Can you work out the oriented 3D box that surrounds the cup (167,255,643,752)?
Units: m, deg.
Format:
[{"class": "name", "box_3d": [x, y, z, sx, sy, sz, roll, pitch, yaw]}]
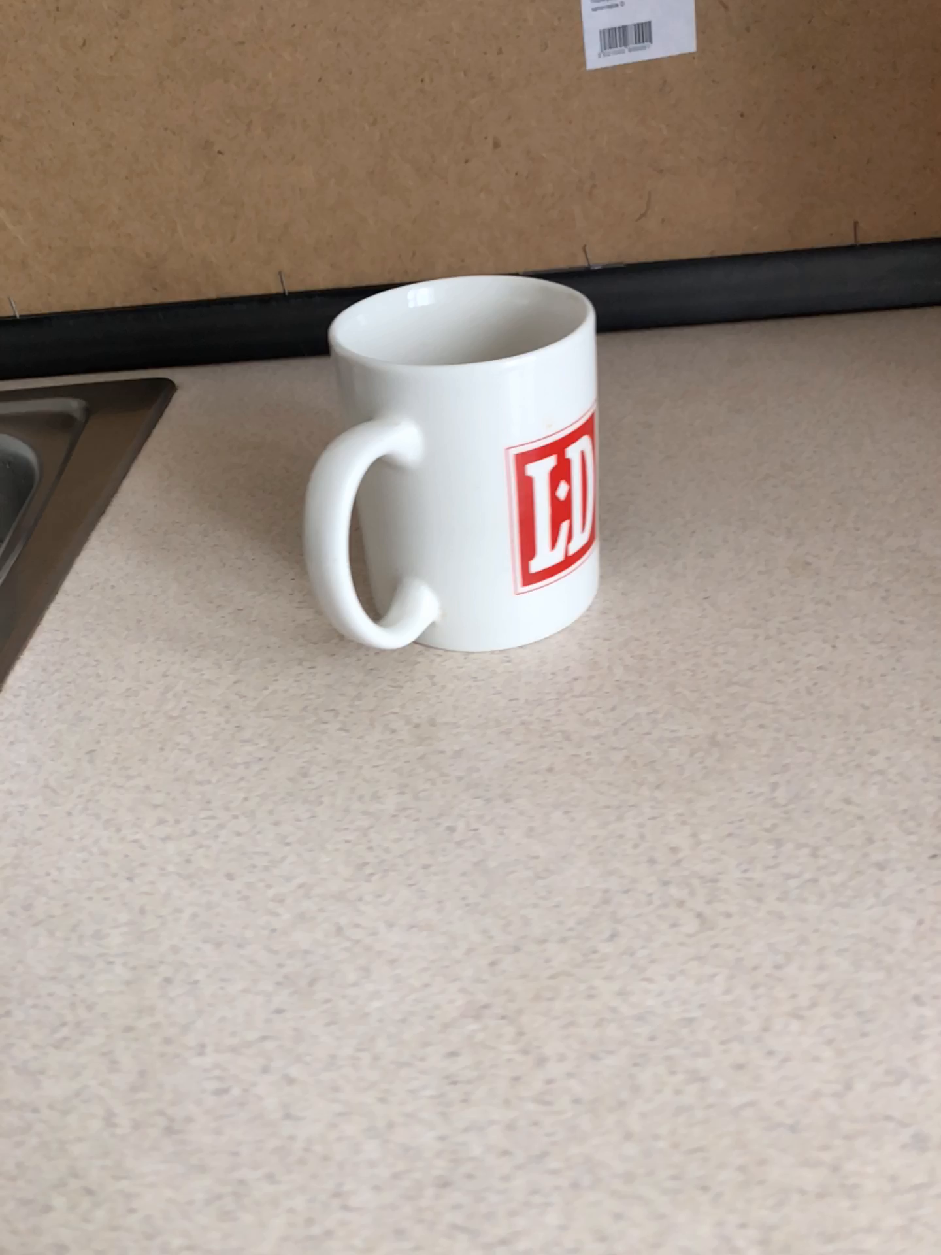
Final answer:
[{"class": "cup", "box_3d": [-0.010, -0.047, 0.328, 0.084, 0.099, 0.121, 17, 40, 29]}]
